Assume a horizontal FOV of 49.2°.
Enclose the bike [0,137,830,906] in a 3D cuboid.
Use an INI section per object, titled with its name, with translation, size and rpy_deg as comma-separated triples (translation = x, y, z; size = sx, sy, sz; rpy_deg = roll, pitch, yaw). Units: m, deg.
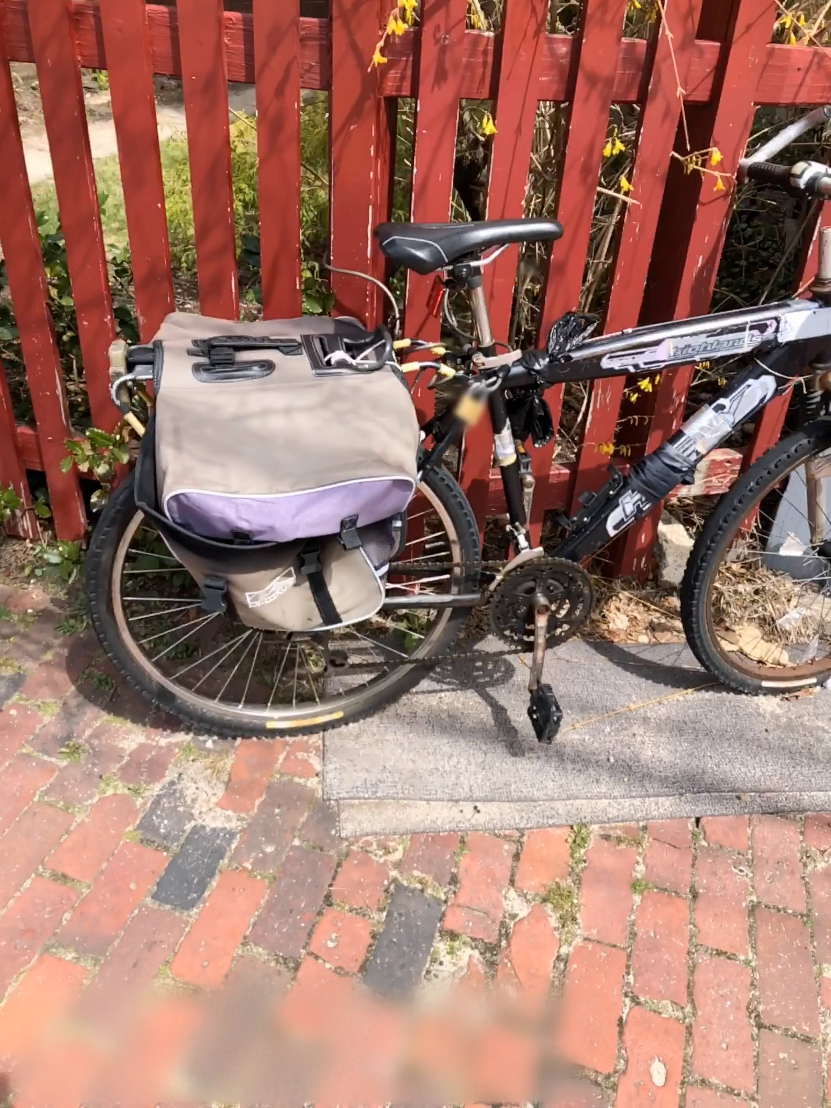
[bike]
translation = 0.314, -0.142, 1.612
size = 1.726, 1.000, 0.675
rpy_deg = -5, 33, -12
